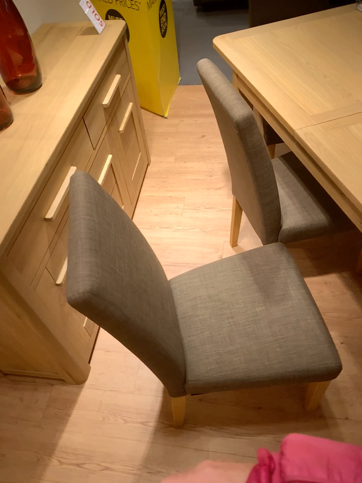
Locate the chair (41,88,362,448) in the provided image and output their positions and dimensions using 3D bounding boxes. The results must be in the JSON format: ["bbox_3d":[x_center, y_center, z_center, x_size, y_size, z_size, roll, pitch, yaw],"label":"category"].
[{"bbox_3d":[0.091,0.170,1.090,0.610,0.951,0.494,-11,49,-2],"label":"chair"}]
